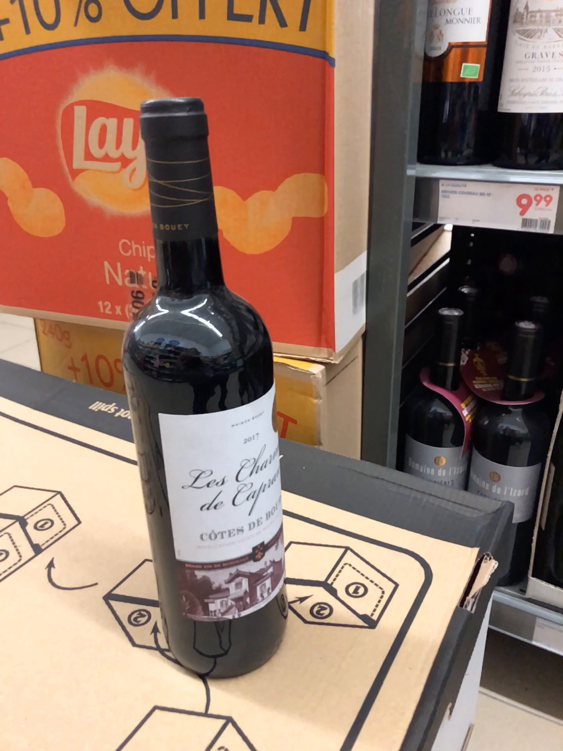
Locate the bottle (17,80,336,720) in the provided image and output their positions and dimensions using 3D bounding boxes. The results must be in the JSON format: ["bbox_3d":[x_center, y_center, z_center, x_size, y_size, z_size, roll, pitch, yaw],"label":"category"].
[{"bbox_3d":[-0.038,0.014,0.309,0.090,0.289,0.090,-1,24,0],"label":"bottle"}]
